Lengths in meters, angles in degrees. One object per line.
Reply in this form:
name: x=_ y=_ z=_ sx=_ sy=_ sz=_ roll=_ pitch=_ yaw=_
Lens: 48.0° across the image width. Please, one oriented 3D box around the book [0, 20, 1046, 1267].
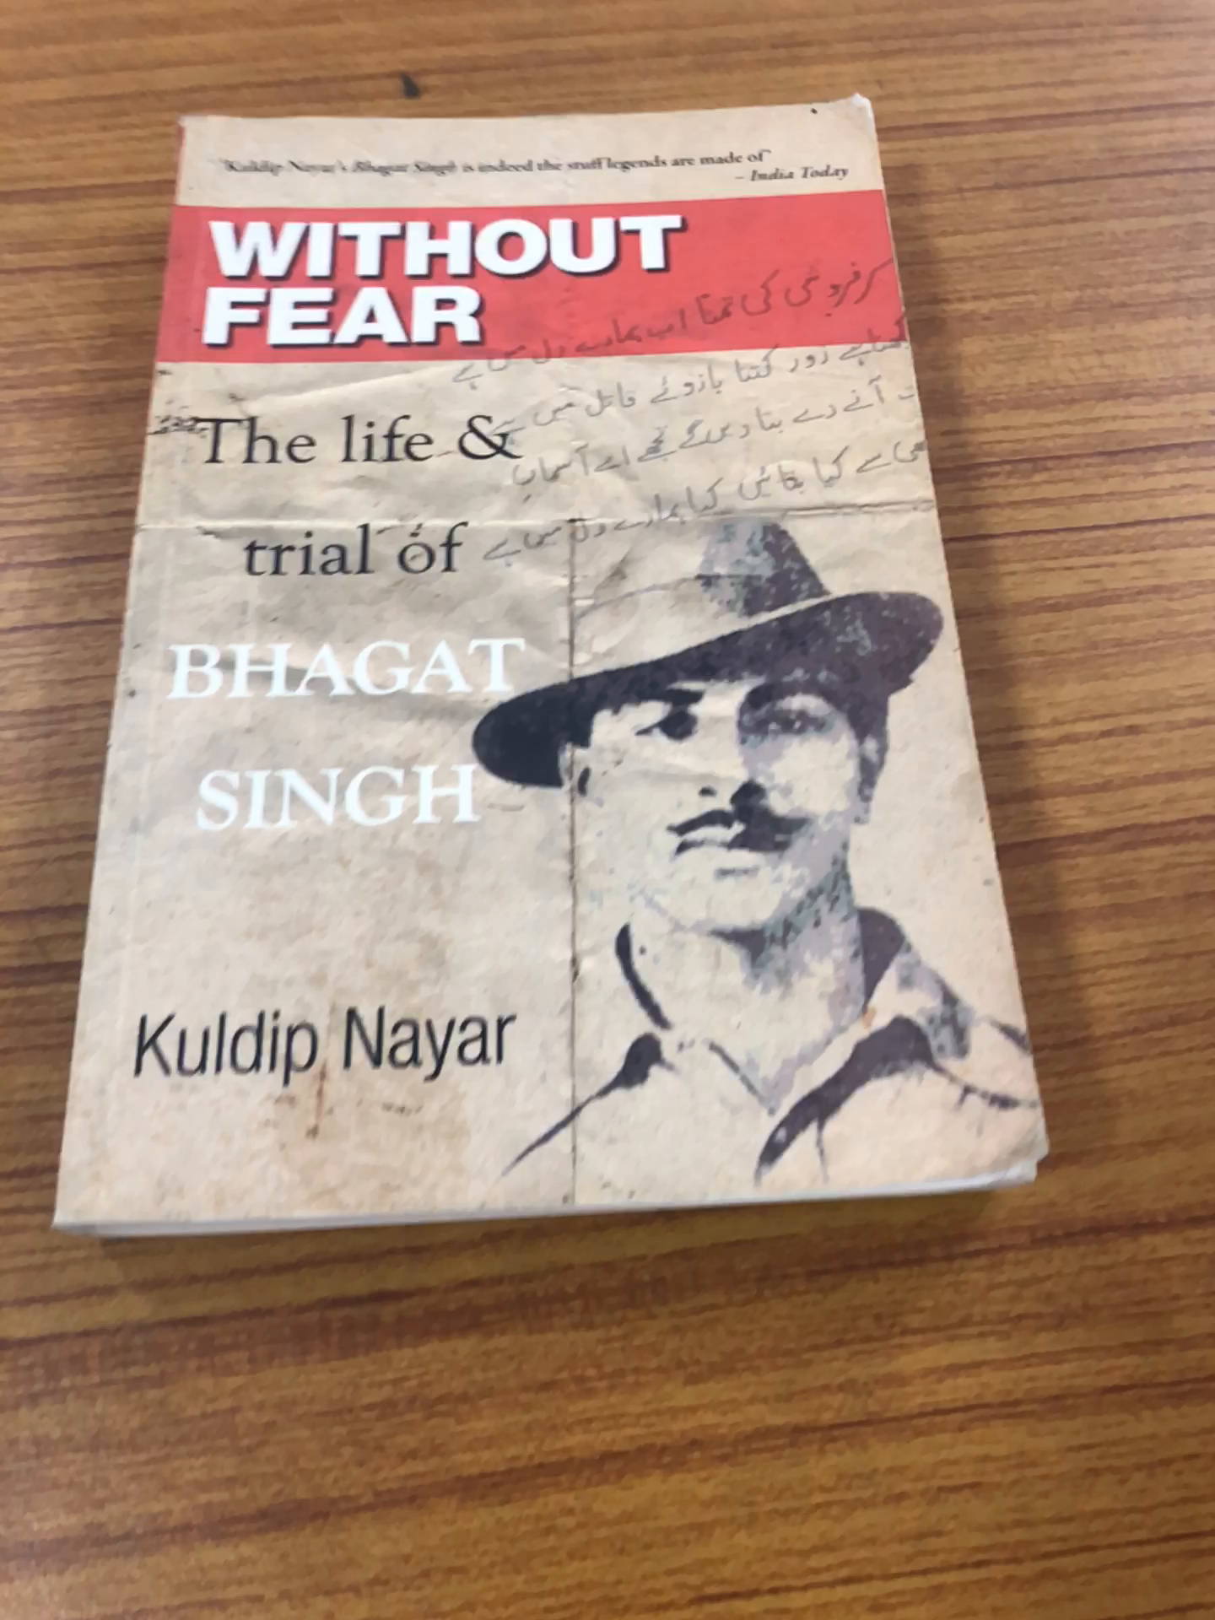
book: x=-0.020 y=-0.040 z=0.220 sx=0.140 sy=0.030 sz=0.210 roll=-1 pitch=67 yaw=0
